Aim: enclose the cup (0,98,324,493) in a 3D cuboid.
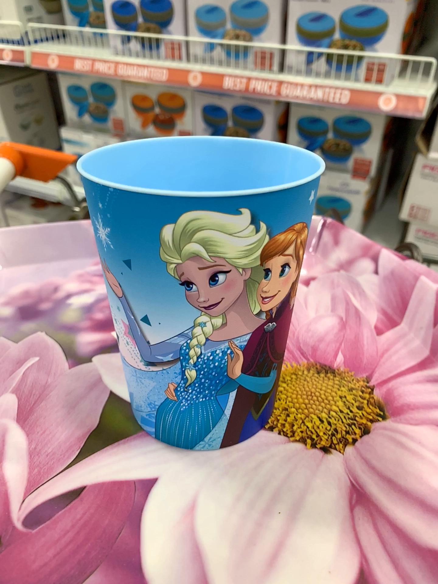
[{"bbox_3d":[-0.014,0.000,0.158,0.080,0.109,0.060,9,35,14],"label":"cup"}]
